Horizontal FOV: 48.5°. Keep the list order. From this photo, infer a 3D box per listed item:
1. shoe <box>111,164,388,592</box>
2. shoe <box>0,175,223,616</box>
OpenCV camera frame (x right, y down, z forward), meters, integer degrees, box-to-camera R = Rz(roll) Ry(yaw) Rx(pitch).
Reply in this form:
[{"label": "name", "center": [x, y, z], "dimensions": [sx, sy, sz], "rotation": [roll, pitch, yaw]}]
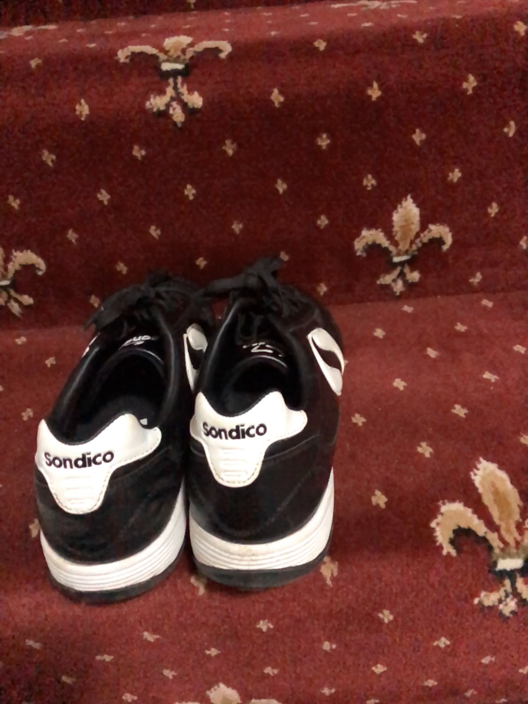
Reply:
[{"label": "shoe", "center": [0.000, -0.018, 0.363], "dimensions": [0.100, 0.099, 0.302], "rotation": [-2, 35, 3]}, {"label": "shoe", "center": [-0.084, -0.009, 0.364], "dimensions": [0.100, 0.099, 0.302], "rotation": [-4, 35, 0]}]
